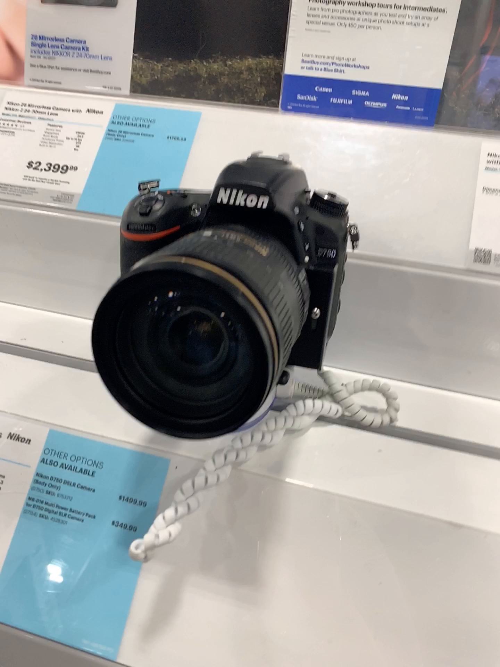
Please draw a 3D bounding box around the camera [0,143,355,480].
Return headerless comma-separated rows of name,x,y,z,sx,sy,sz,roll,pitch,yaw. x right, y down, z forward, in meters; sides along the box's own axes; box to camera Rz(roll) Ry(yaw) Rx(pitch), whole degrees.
camera,-0.022,-0.035,0.285,0.140,0.111,0.181,8,25,8
